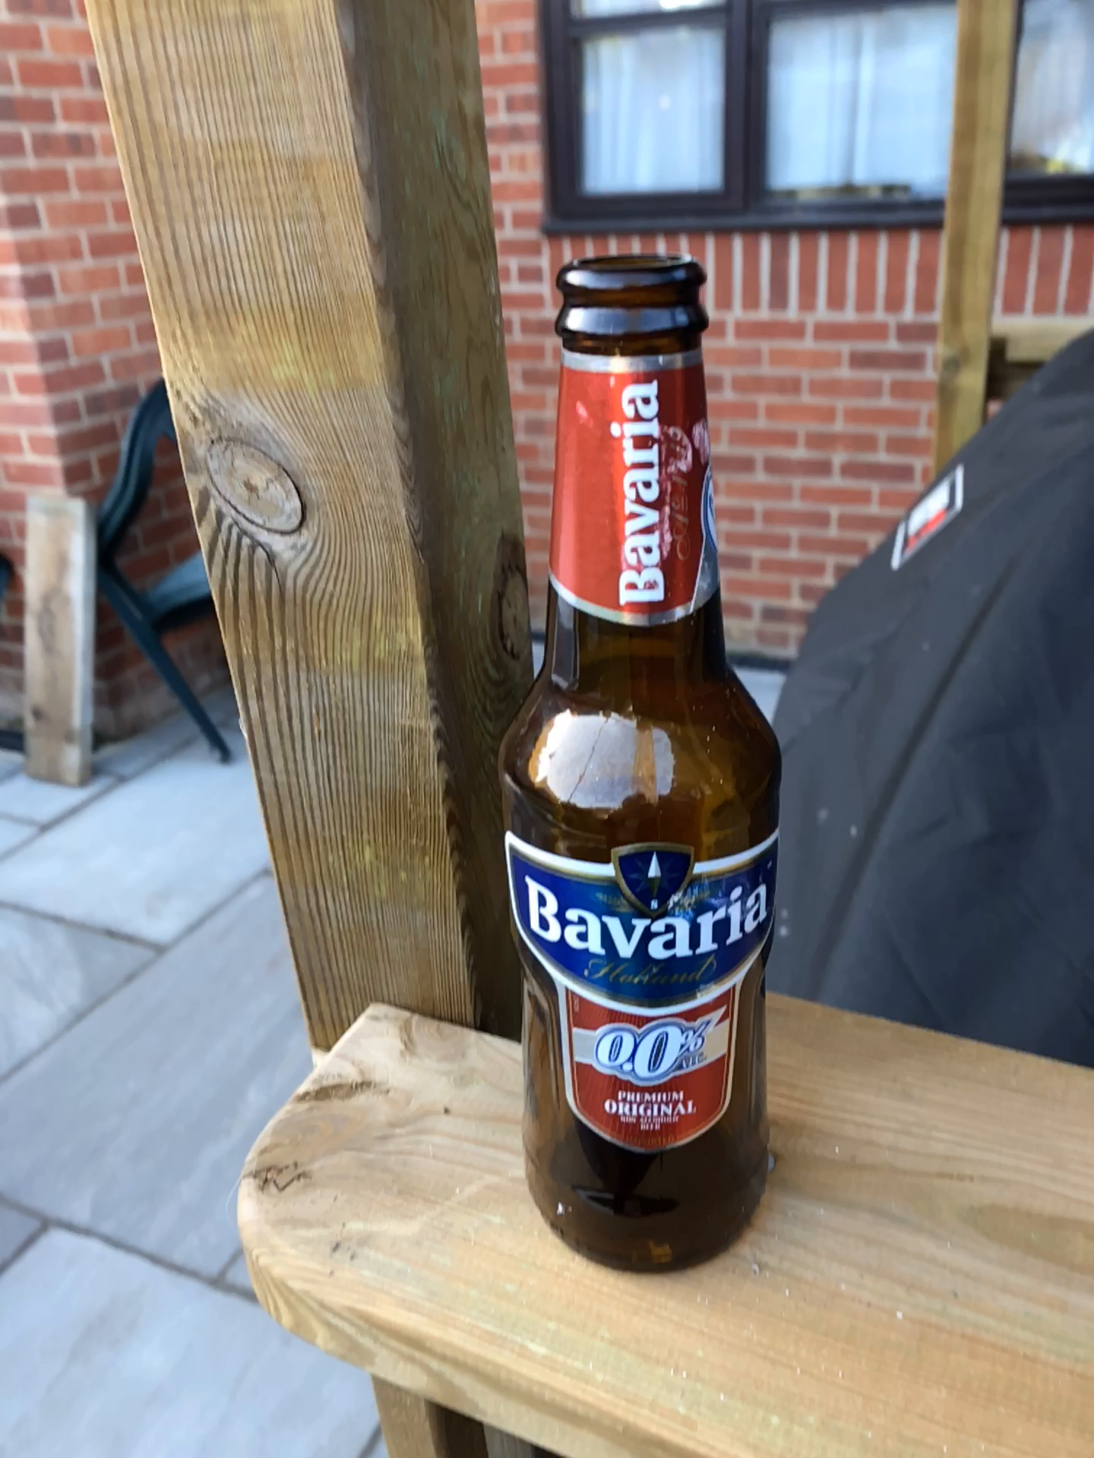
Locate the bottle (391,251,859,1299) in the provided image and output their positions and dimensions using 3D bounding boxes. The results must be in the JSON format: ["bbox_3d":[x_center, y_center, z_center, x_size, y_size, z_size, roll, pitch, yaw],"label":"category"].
[{"bbox_3d":[0.018,0.016,0.251,0.070,0.209,0.060,-1,24,4],"label":"bottle"}]
